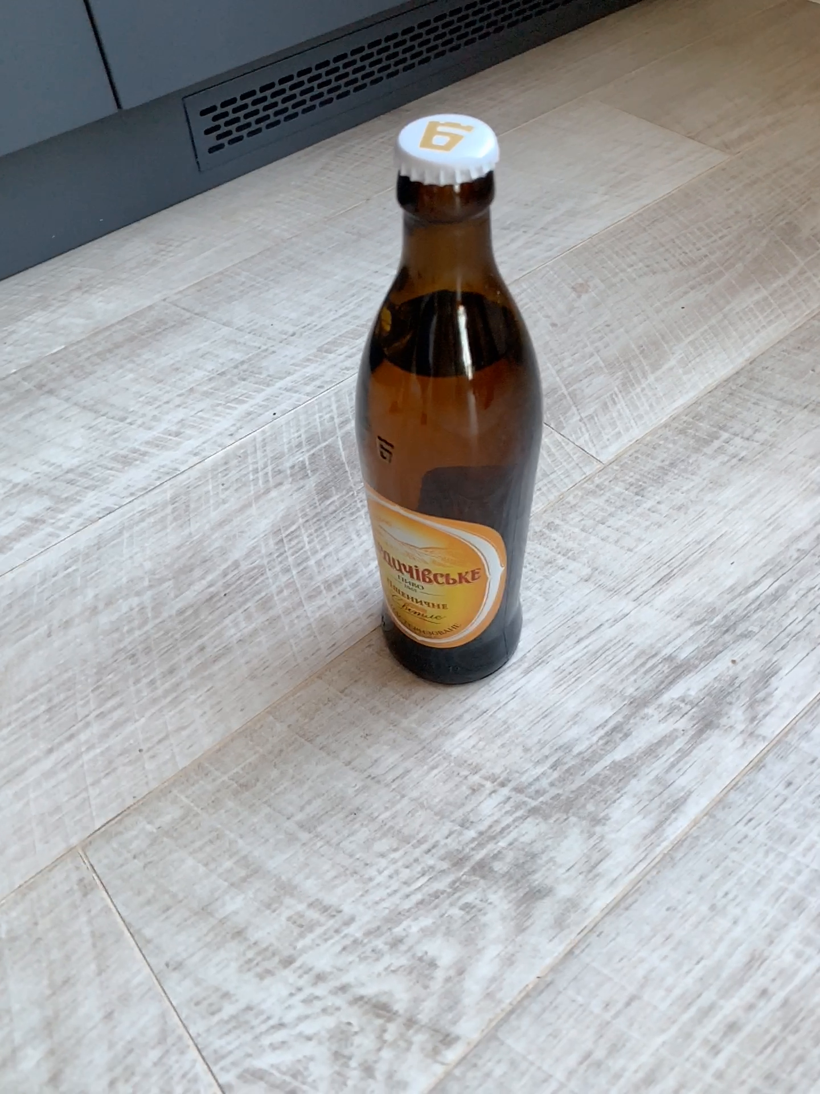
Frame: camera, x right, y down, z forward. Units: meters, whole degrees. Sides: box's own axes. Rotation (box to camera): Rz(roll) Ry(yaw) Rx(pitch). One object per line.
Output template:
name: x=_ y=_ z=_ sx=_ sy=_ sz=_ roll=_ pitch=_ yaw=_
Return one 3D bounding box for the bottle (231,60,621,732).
bottle: x=0.011 y=-0.031 z=0.301 sx=0.070 sy=0.229 sz=0.070 roll=-2 pitch=51 yaw=3
